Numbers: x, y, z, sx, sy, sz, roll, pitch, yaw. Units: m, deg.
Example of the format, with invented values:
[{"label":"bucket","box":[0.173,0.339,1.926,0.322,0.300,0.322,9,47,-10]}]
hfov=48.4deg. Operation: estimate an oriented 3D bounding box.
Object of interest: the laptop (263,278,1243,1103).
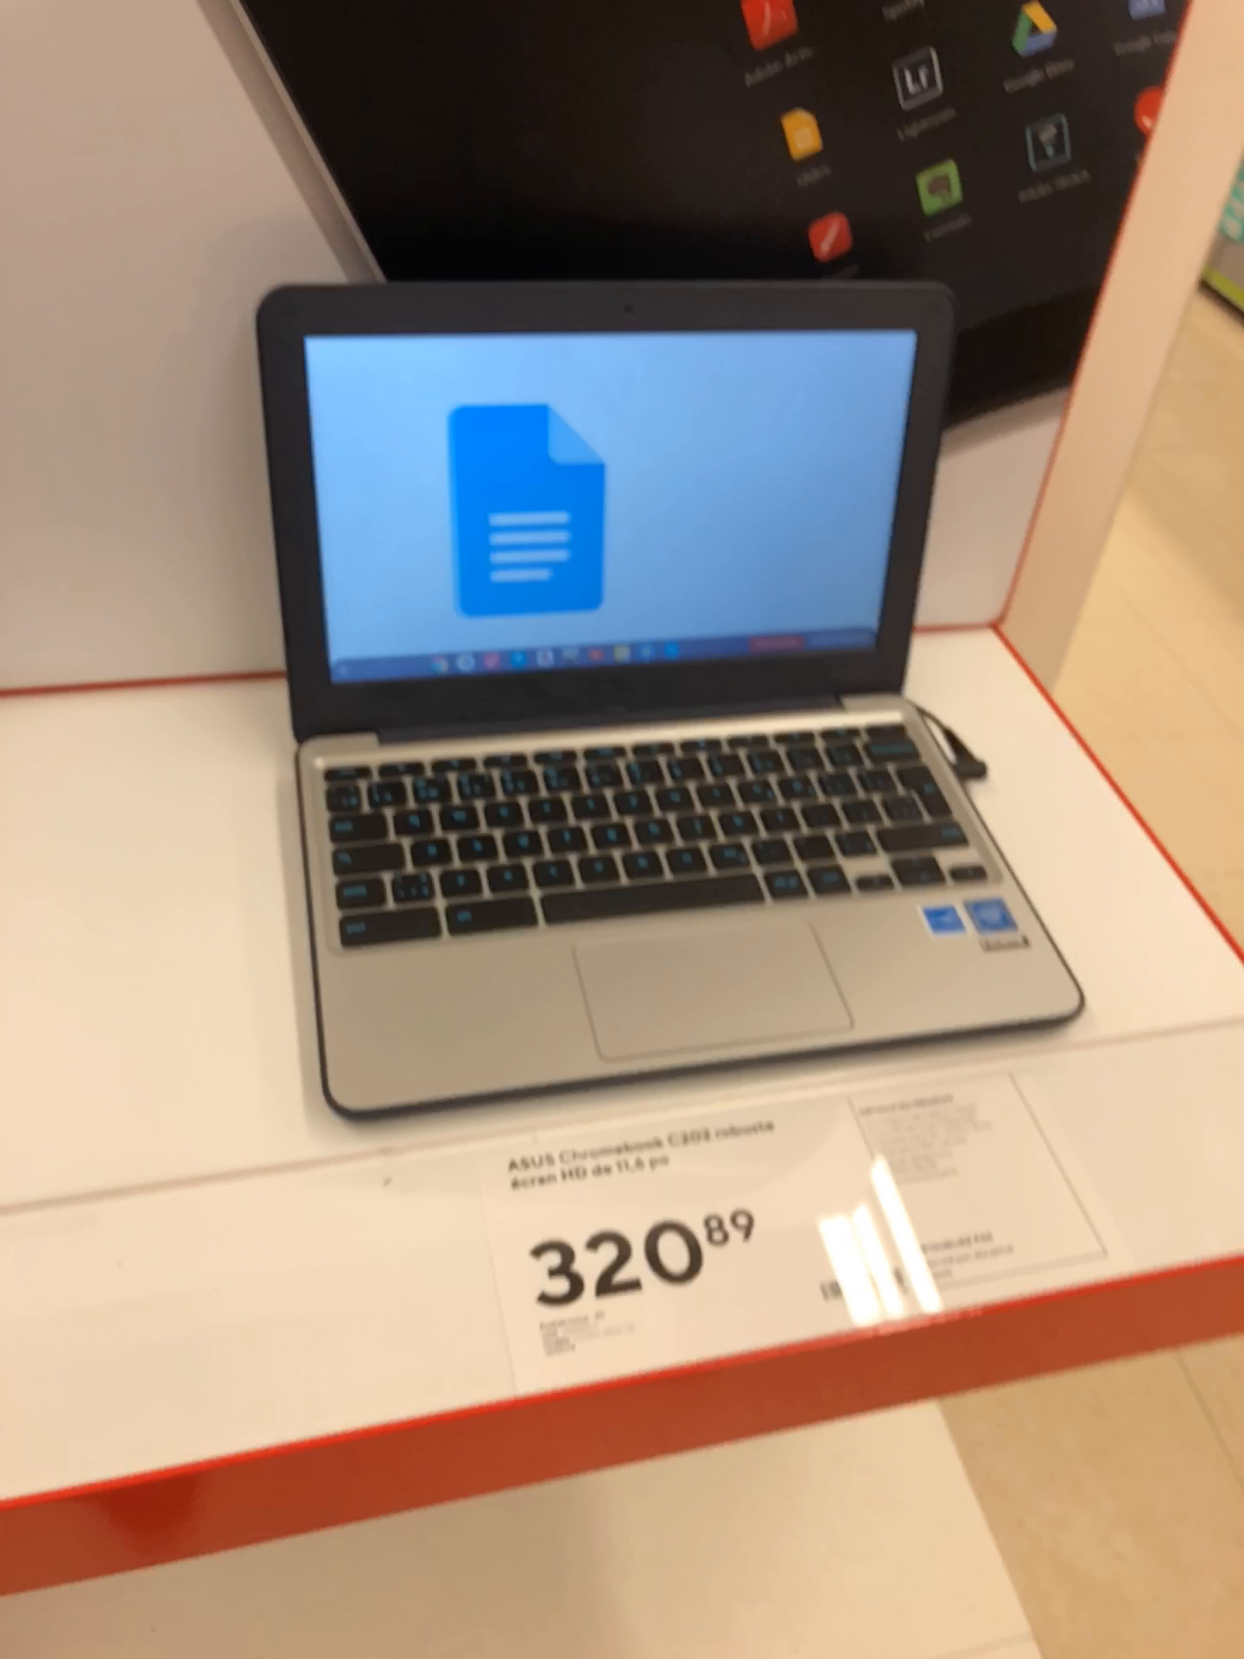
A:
[{"label":"laptop","box":[0.020,-0.067,0.517,0.275,0.174,0.231,-5,45,-14]}]
